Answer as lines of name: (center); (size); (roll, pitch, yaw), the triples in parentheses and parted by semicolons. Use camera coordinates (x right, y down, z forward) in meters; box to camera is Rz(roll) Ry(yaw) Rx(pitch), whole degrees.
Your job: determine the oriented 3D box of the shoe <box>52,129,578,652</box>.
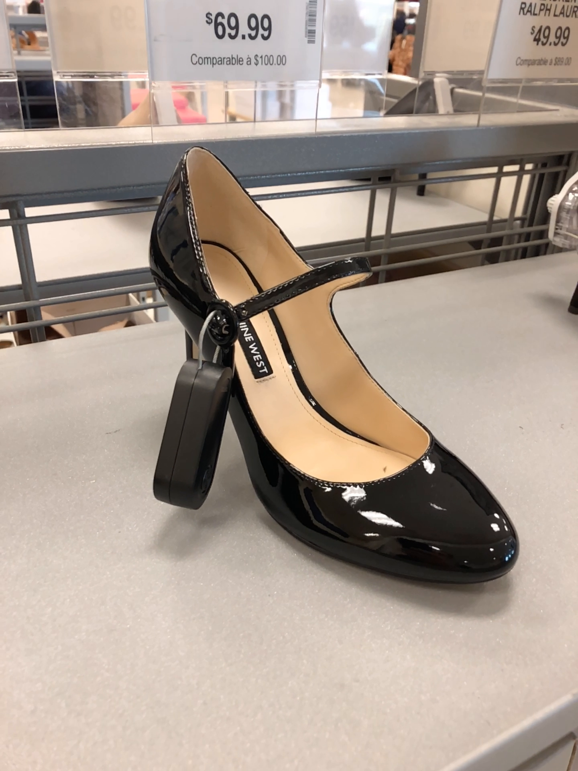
shoe: (-0.003, -0.024, 0.320); (0.257, 0.151, 0.090); (29, 39, 36)
